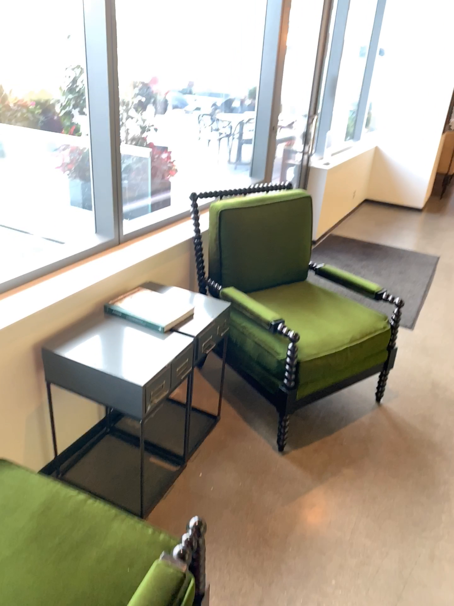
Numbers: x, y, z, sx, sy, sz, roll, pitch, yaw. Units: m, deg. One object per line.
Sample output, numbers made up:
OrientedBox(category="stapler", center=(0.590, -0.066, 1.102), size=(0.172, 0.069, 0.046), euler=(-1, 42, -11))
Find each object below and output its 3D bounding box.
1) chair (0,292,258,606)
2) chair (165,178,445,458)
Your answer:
OrientedBox(category="chair", center=(-0.528, 0.663, 0.838), size=(0.841, 0.924, 0.914), euler=(13, 28, 17))
OrientedBox(category="chair", center=(0.299, -0.035, 2.344), size=(0.871, 0.924, 0.945), euler=(-14, 32, -32))
